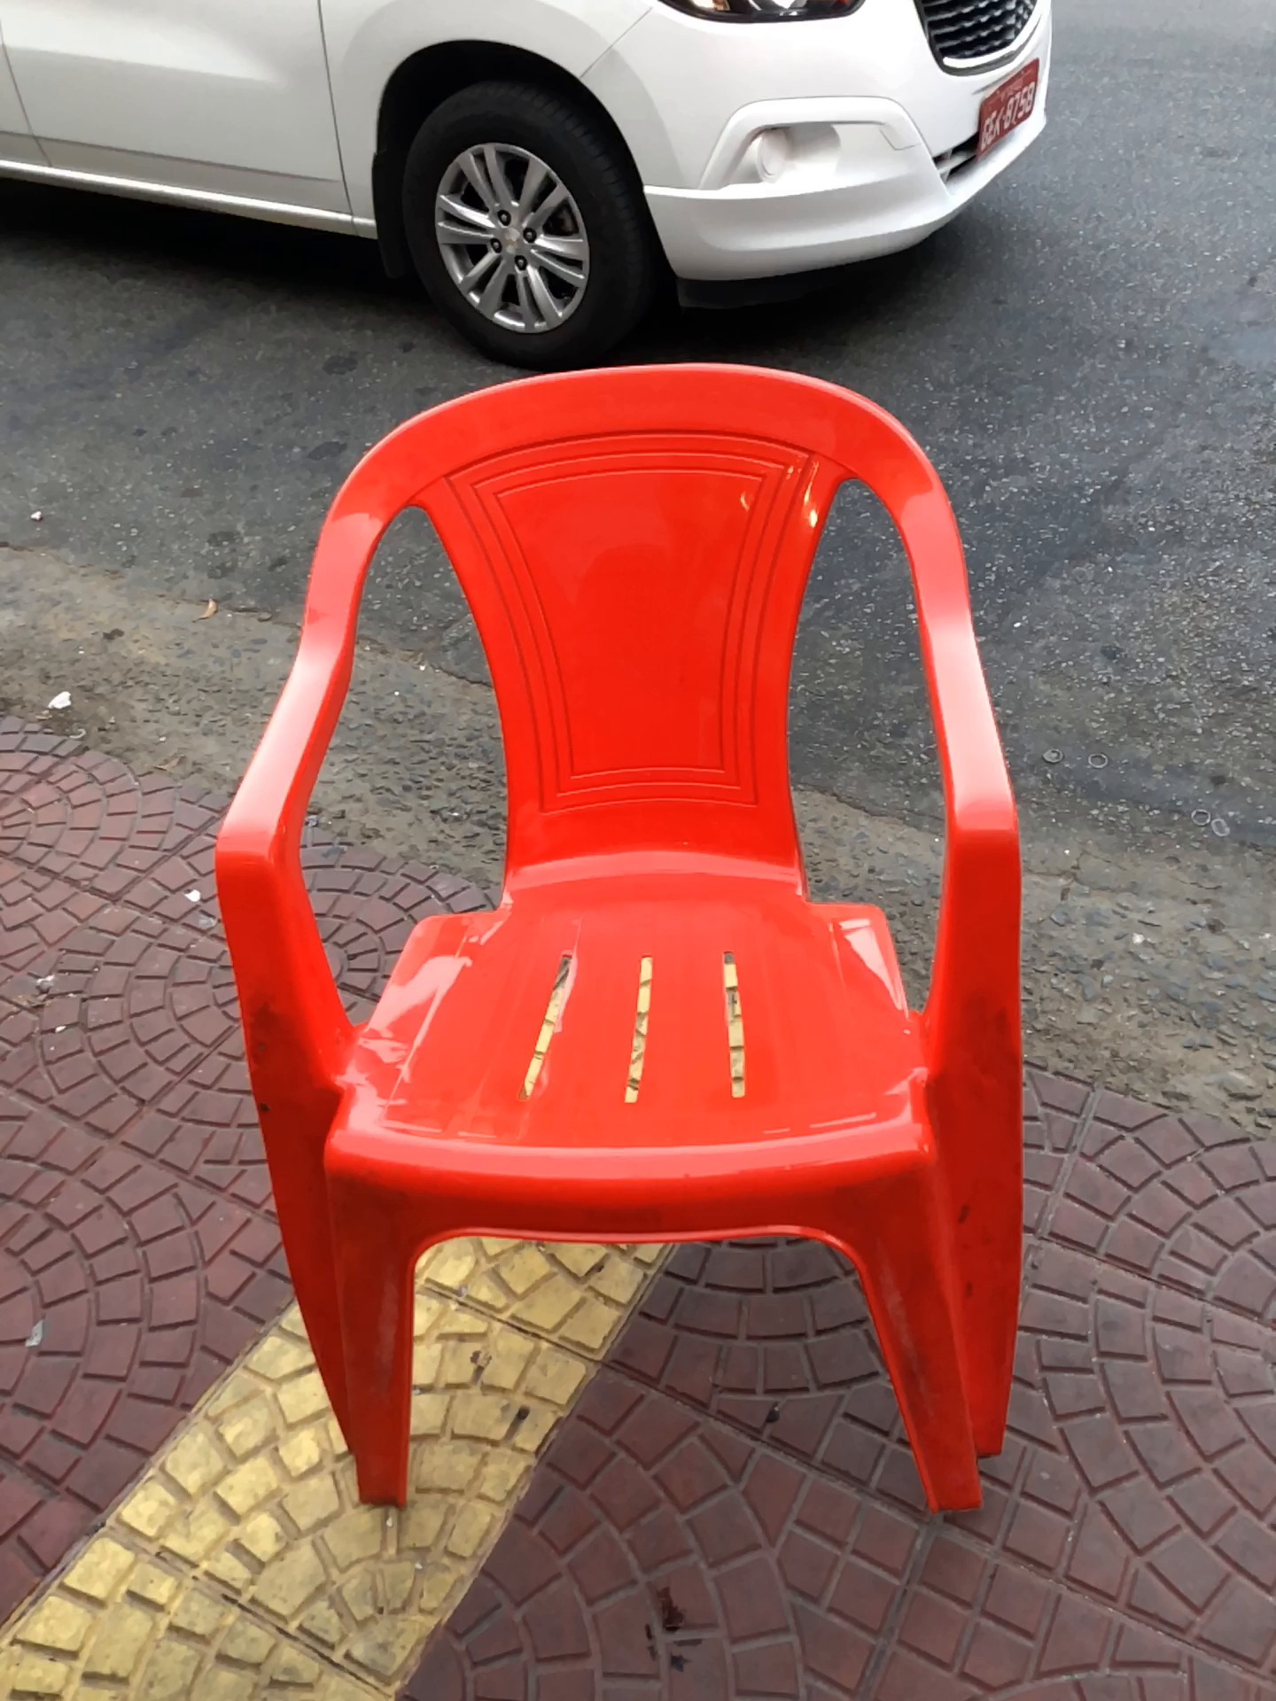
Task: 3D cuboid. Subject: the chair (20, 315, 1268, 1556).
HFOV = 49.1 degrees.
[{"bbox_3d":[0.023,0.080,1.096,0.570,0.794,0.544,0,39,4],"label":"chair"}]
